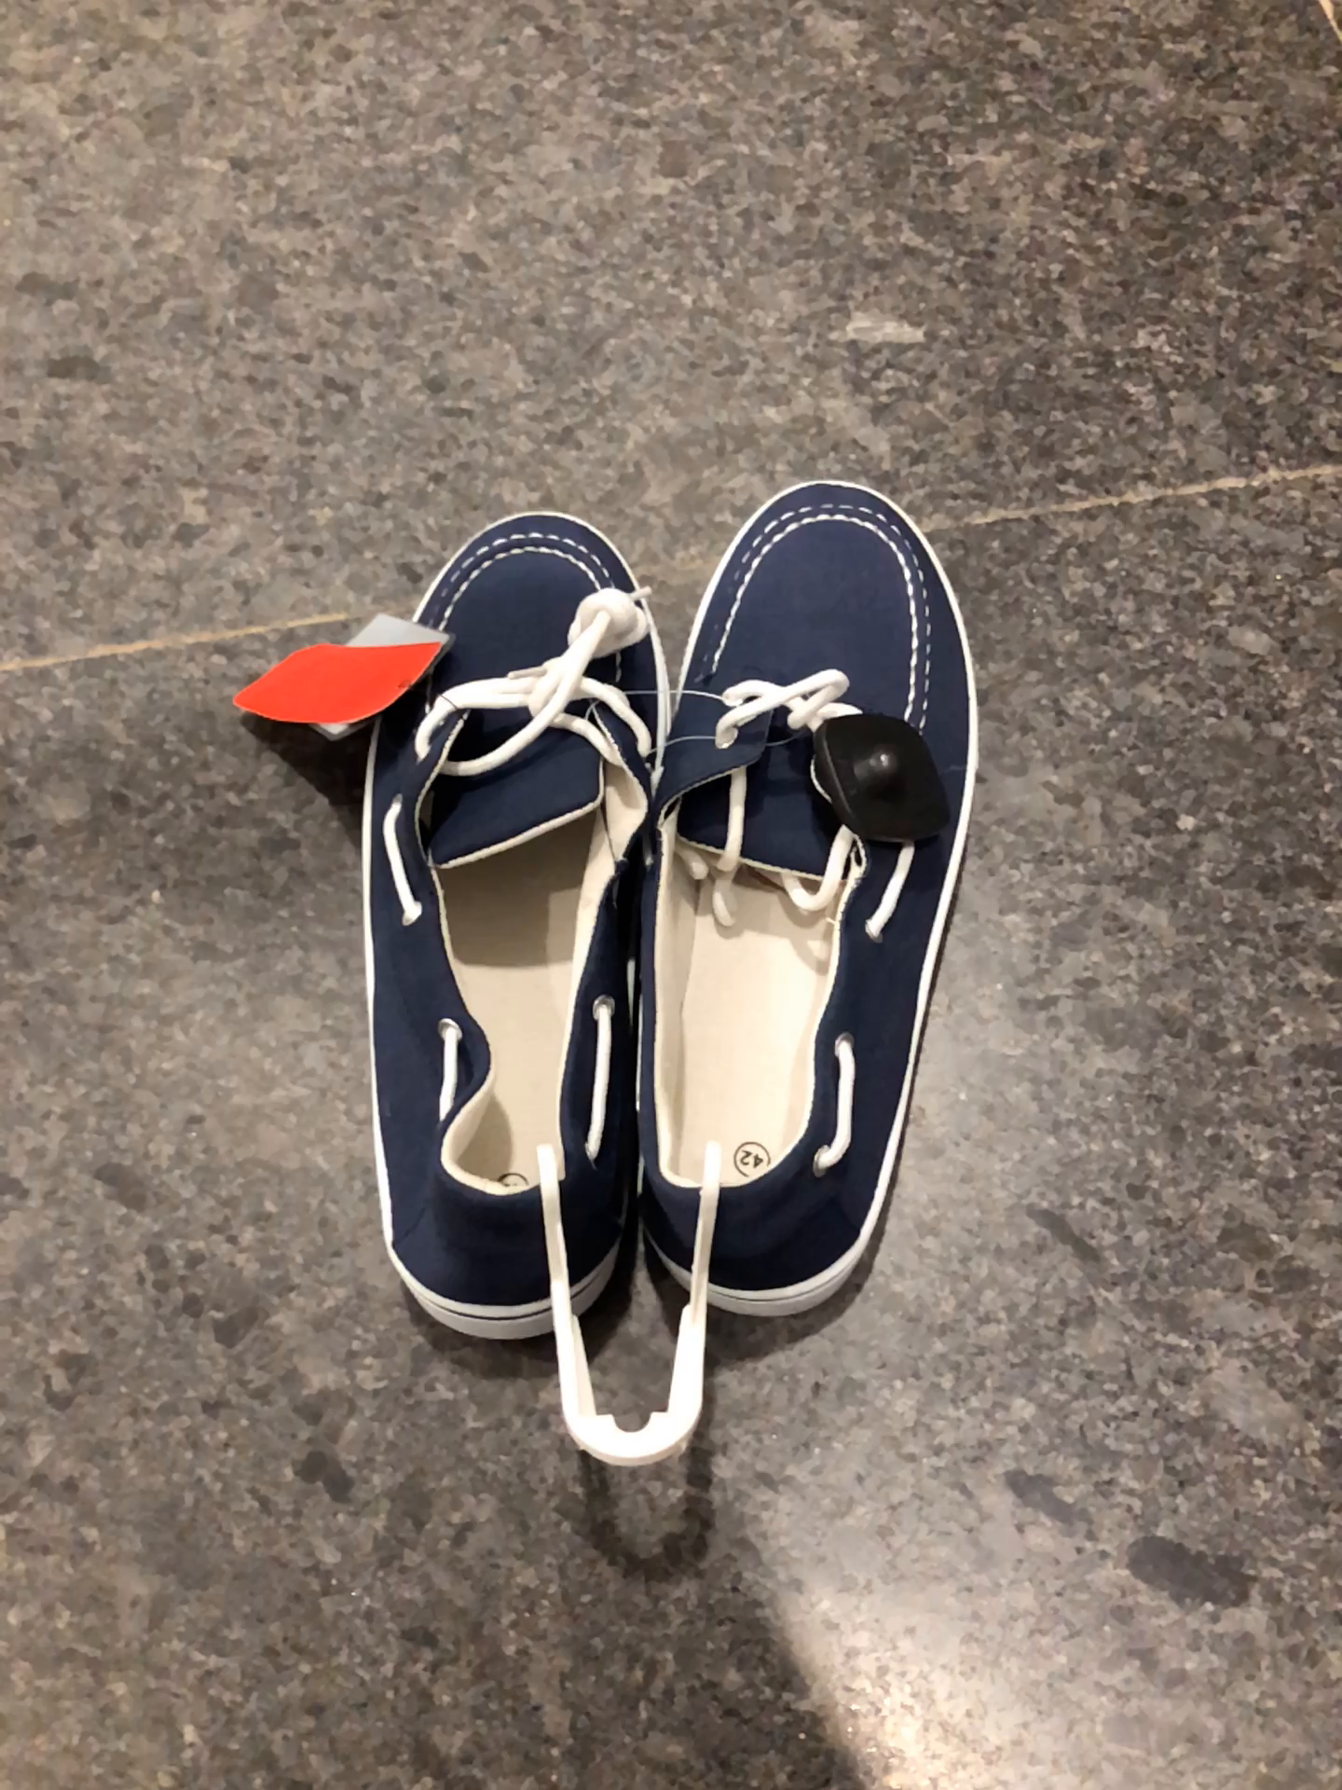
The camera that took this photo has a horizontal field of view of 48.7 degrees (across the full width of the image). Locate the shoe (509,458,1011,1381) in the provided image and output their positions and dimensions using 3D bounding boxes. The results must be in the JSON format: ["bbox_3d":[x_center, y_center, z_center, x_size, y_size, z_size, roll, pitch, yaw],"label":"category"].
[{"bbox_3d":[0.033,0.006,0.457,0.096,0.115,0.247,10,65,6],"label":"shoe"}]

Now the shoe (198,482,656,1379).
[{"bbox_3d":[-0.059,0.010,0.455,0.096,0.115,0.249,1,65,2],"label":"shoe"}]
